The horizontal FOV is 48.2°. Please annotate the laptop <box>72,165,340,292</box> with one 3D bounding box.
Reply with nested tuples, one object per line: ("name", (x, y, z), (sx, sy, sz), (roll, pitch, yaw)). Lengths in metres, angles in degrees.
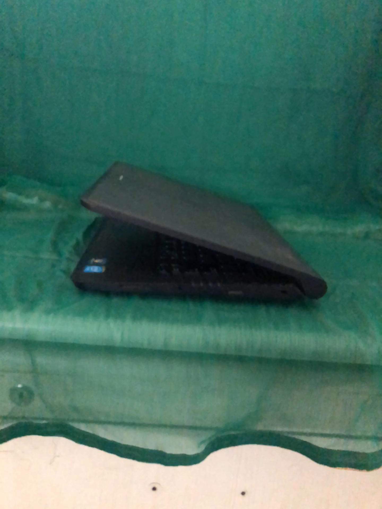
("laptop", (0.003, -0.050, 0.519), (0.229, 0.064, 0.306), (4, 17, -6))
